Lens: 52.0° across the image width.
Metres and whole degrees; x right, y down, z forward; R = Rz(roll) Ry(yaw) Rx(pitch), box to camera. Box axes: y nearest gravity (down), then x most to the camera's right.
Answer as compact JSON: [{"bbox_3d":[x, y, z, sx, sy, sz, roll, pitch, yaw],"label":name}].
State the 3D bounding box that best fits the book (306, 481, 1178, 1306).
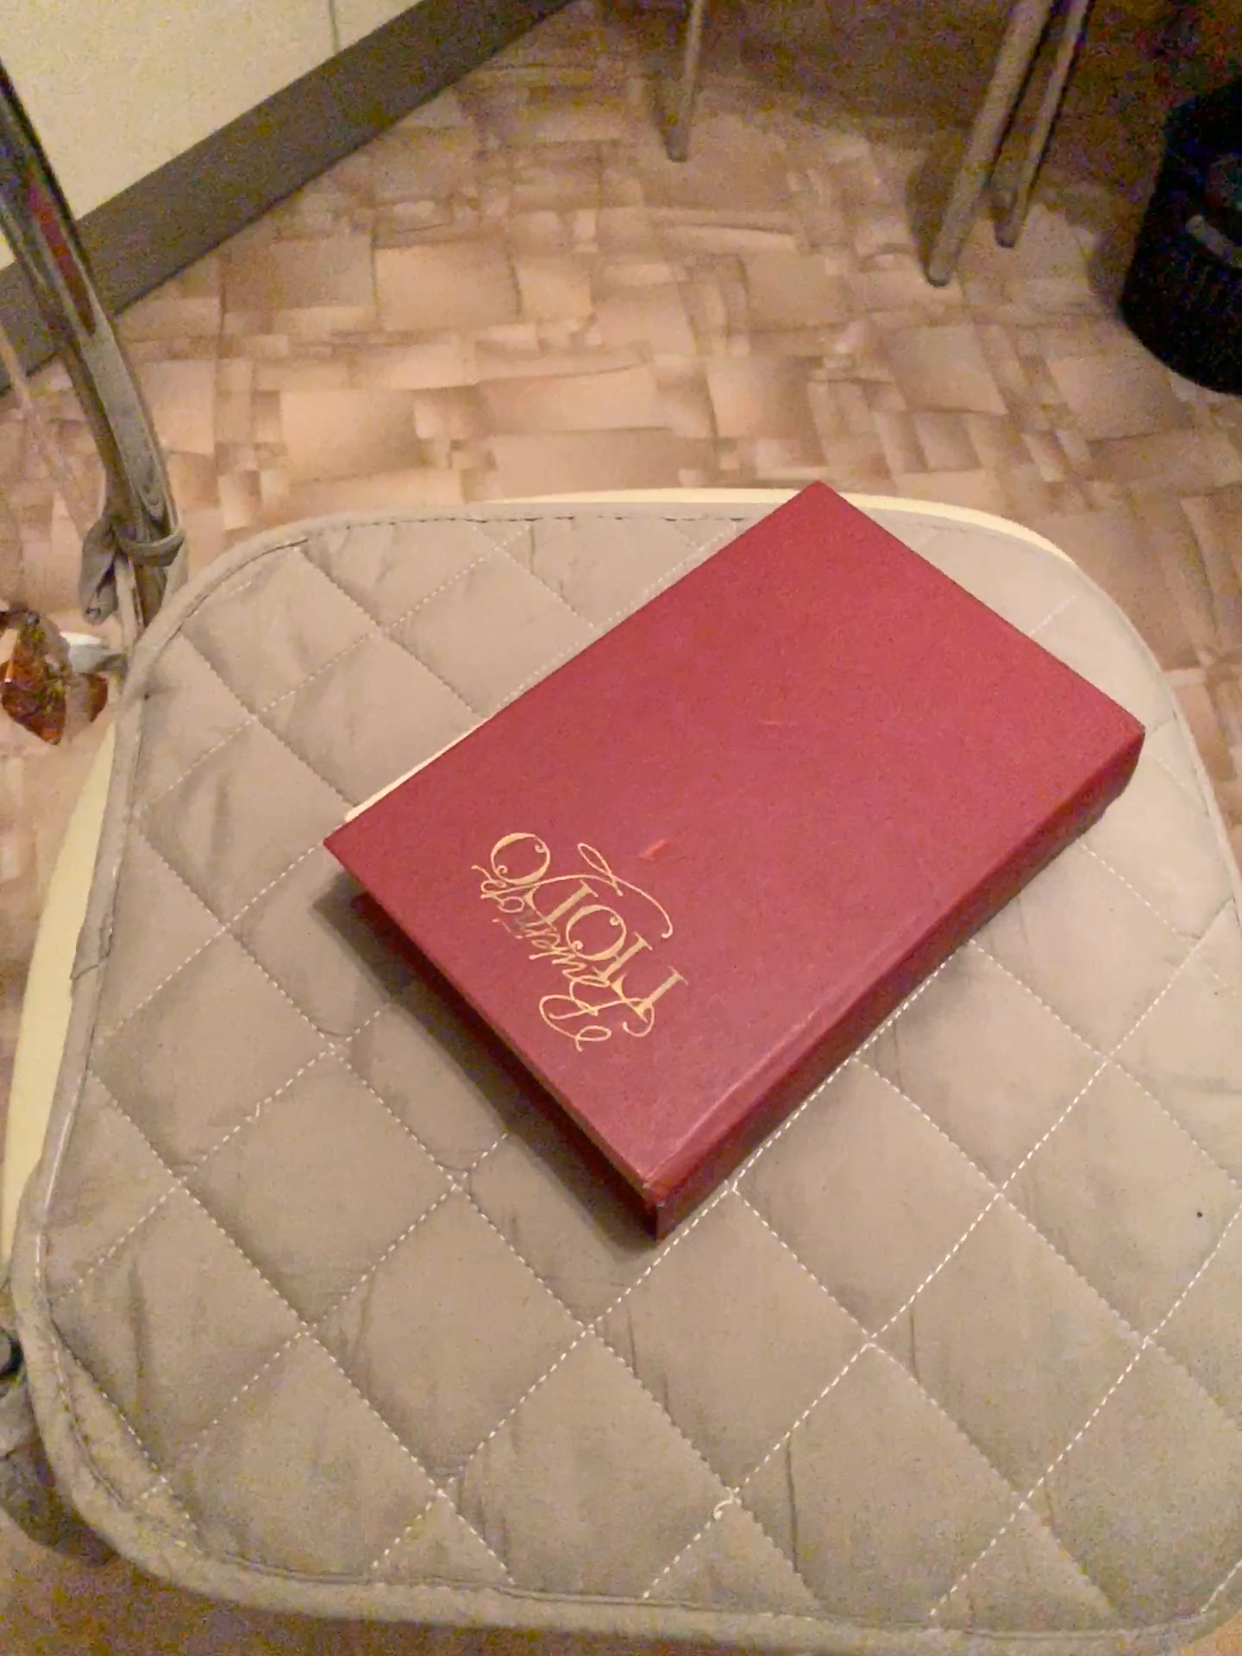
[{"bbox_3d":[0.037,0.008,0.373,0.201,0.060,0.140,-39,71,-22],"label":"book"}]
